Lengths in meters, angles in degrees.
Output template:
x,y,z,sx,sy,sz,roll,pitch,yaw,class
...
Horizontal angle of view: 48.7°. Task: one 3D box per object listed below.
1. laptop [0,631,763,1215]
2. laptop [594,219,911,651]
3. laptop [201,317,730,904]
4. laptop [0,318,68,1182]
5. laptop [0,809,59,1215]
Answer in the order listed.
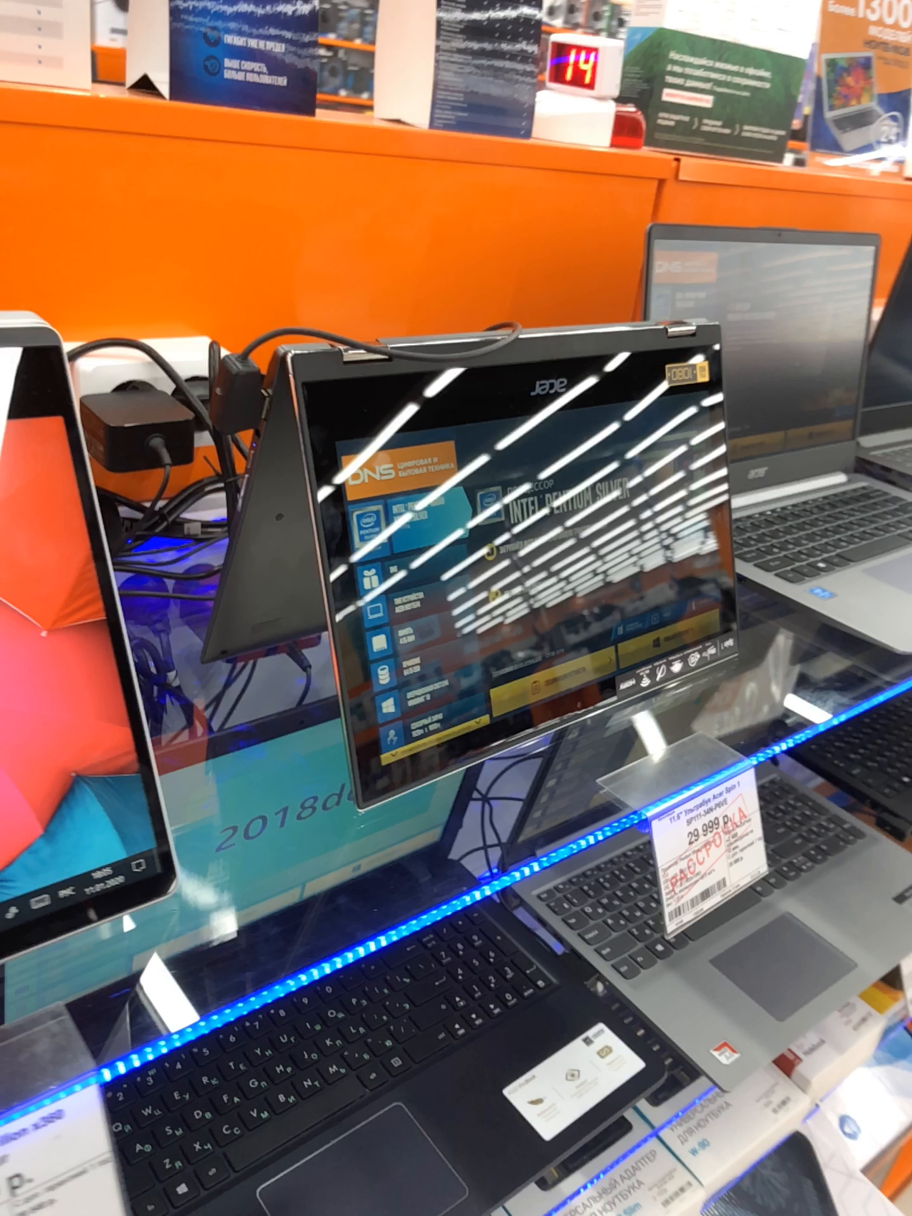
x,y,z,sx,sy,sz,roll,pitch,yaw,class
-0.046,0.200,0.610,0.361,0.222,0.239,-14,34,-37,laptop
0.343,-0.159,0.788,0.351,0.209,0.272,-15,36,-40,laptop
-0.003,0.012,0.610,0.278,0.142,0.181,-14,-4,-34,laptop
-0.313,0.063,0.394,0.300,0.149,0.182,-14,-2,-39,laptop
-0.358,0.290,0.363,0.364,0.202,0.223,-15,38,-36,laptop
